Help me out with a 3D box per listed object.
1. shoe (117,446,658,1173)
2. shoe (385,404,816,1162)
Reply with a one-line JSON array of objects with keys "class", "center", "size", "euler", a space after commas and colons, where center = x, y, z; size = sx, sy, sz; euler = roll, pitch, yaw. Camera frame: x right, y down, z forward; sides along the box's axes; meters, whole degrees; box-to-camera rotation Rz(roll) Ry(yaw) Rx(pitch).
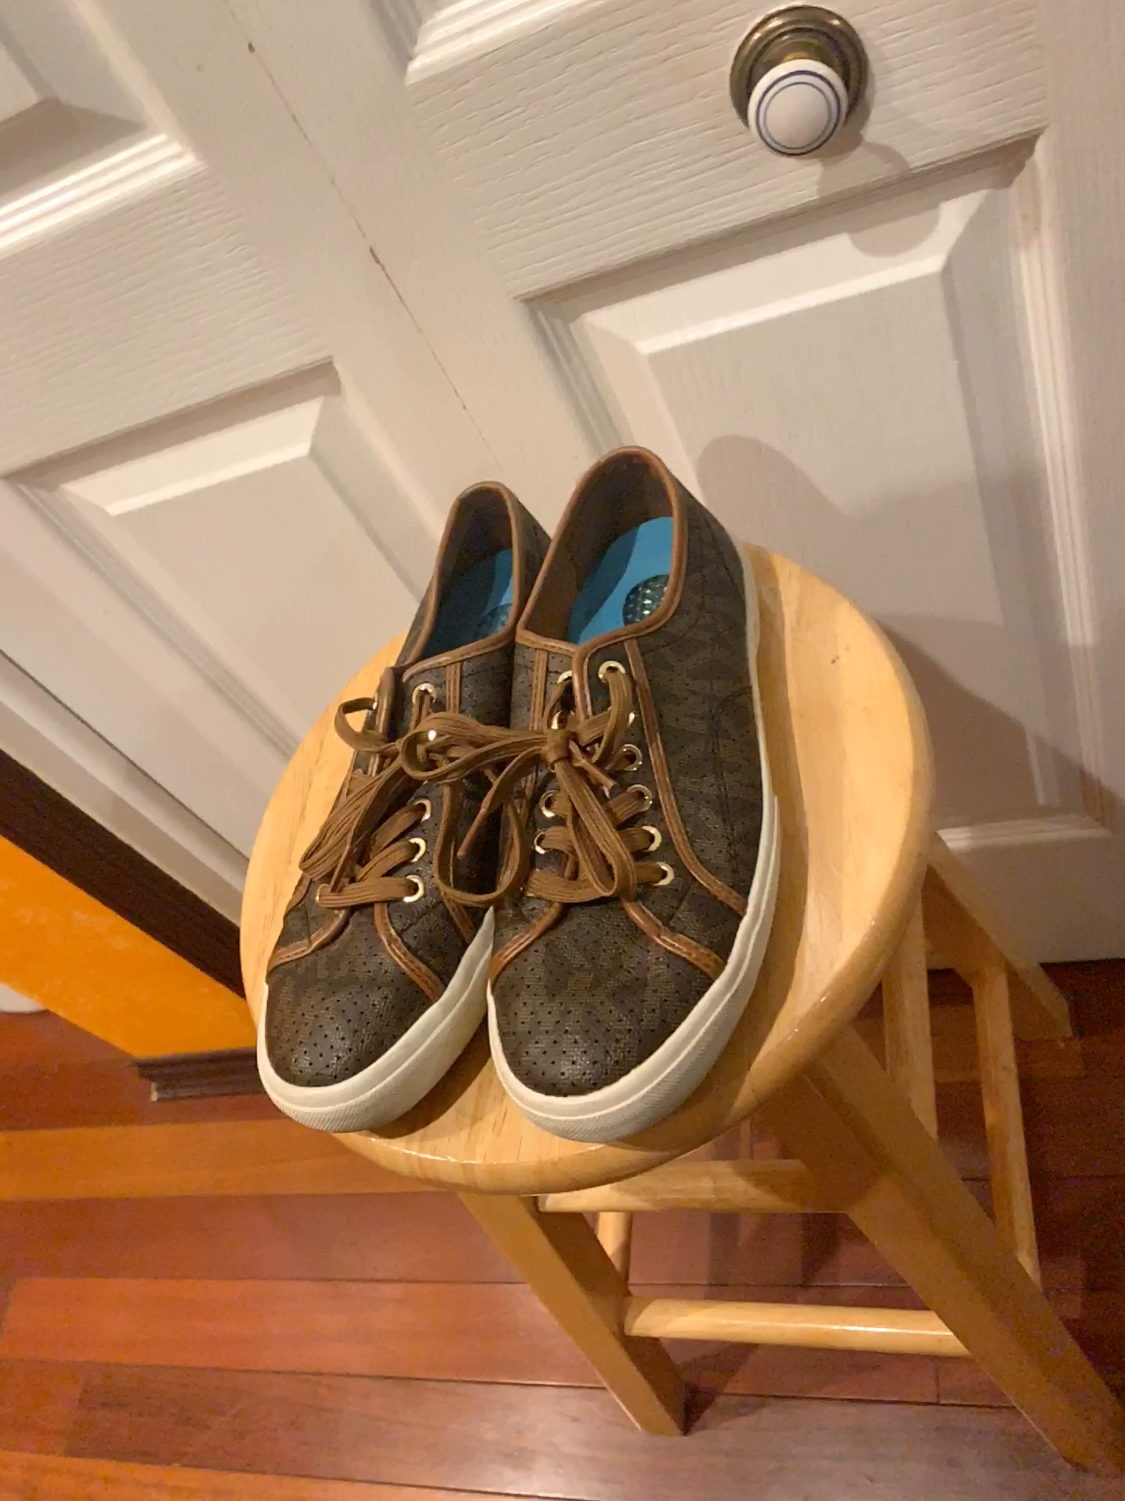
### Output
[{"class": "shoe", "center": [-0.051, 0.012, 0.453], "size": [0.100, 0.090, 0.261], "euler": [-1, 55, 28]}, {"class": "shoe", "center": [0.029, 0.003, 0.420], "size": [0.100, 0.080, 0.261], "euler": [-7, 53, 25]}]
